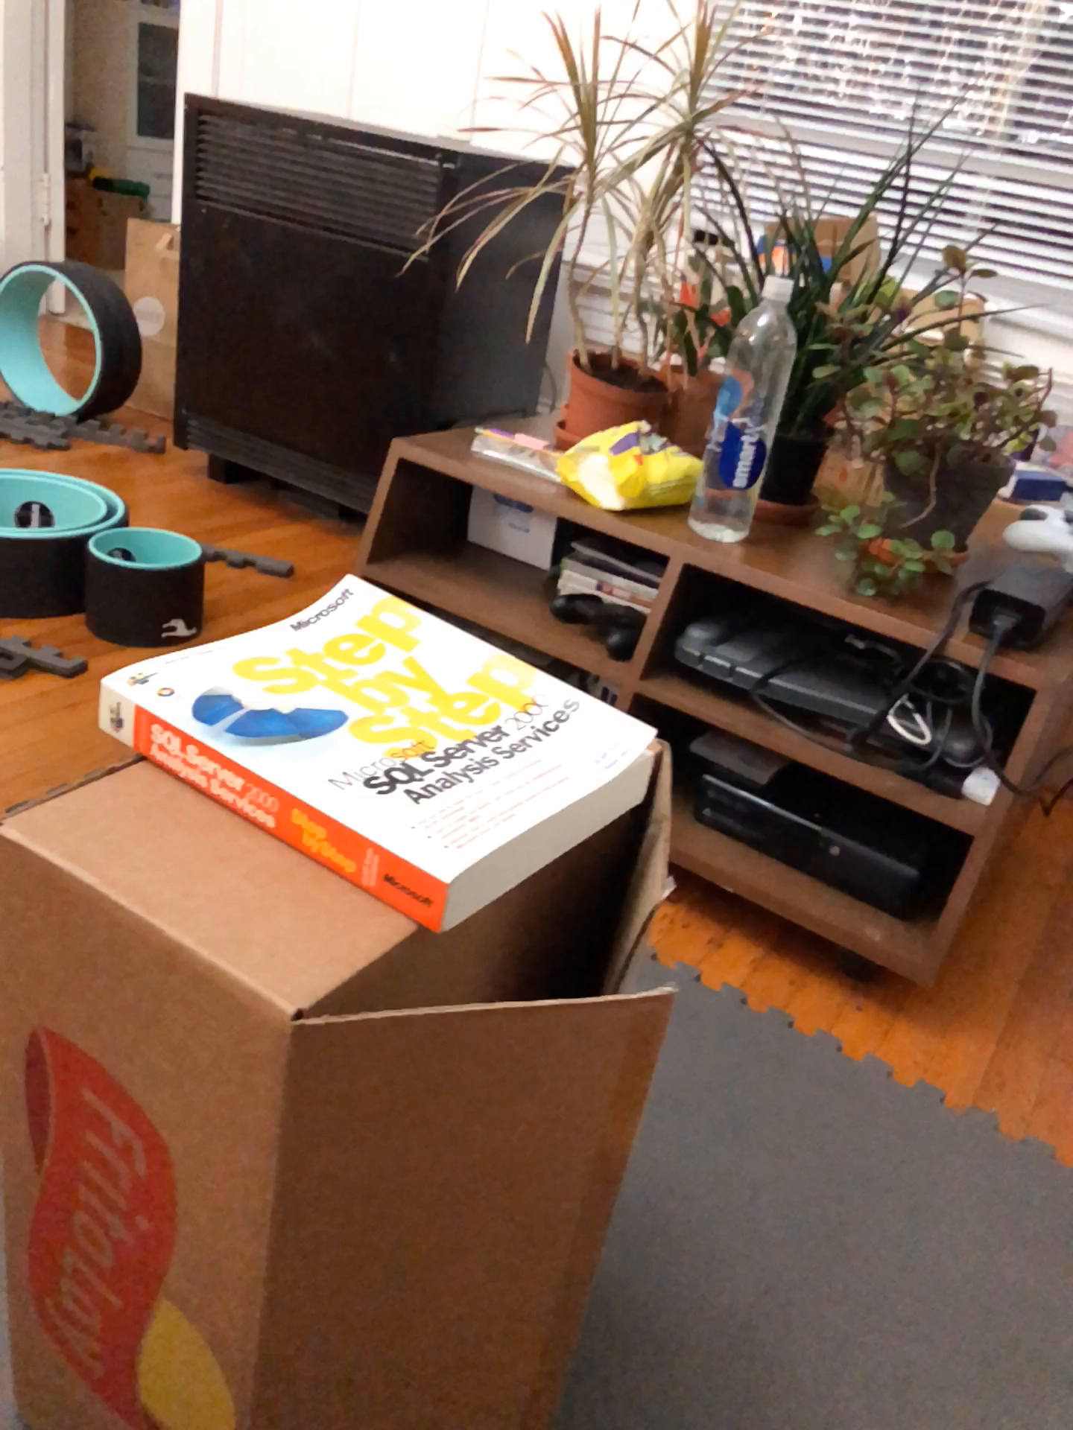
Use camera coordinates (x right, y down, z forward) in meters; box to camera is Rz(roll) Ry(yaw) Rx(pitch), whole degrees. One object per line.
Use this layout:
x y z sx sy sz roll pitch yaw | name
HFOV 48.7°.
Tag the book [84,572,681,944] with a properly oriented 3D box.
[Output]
-0.076 0.004 0.633 0.240 0.050 0.201 26 26 23 | book
